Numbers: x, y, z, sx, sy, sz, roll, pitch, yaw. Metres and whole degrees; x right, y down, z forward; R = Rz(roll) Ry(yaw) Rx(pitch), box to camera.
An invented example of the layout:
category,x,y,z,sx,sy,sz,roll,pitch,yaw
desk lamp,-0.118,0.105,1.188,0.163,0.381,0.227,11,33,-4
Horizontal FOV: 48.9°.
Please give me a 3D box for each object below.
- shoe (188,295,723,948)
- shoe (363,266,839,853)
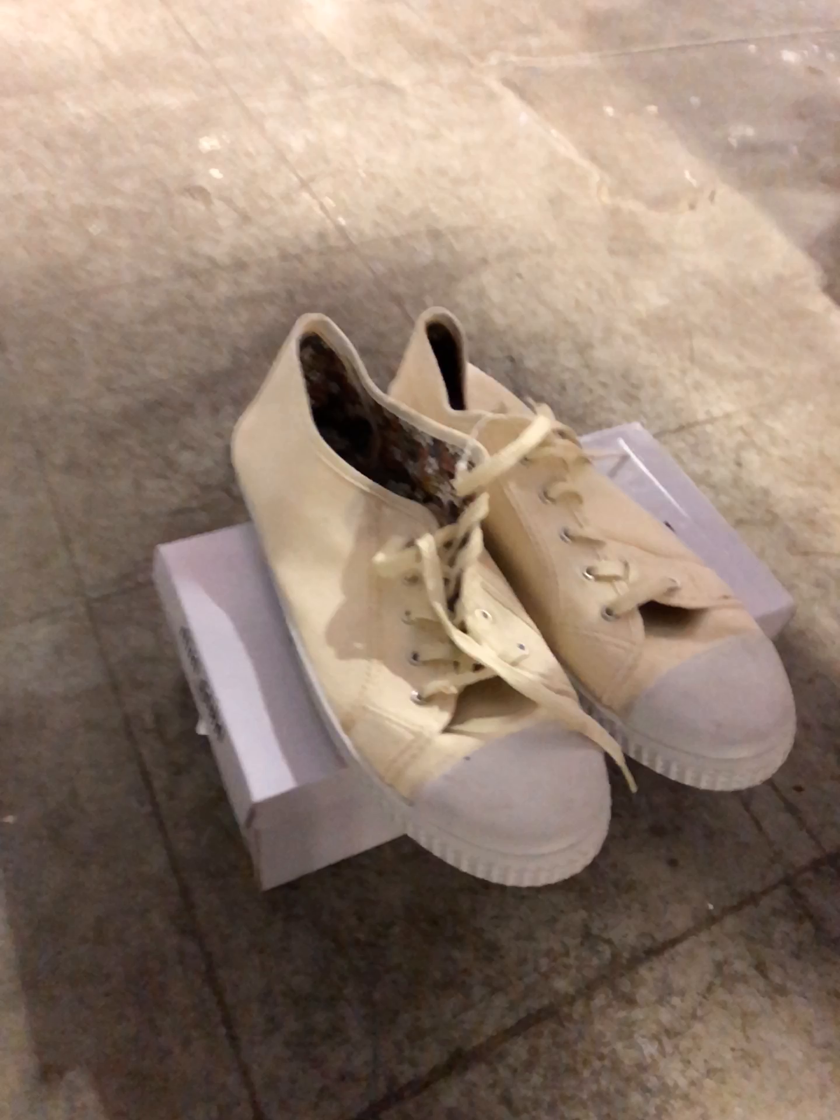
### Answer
category,x,y,z,sx,sy,sz,roll,pitch,yaw
shoe,-0.006,0.005,0.380,0.090,0.079,0.261,-18,54,-22
shoe,0.076,-0.018,0.405,0.100,0.079,0.251,-18,54,-22
